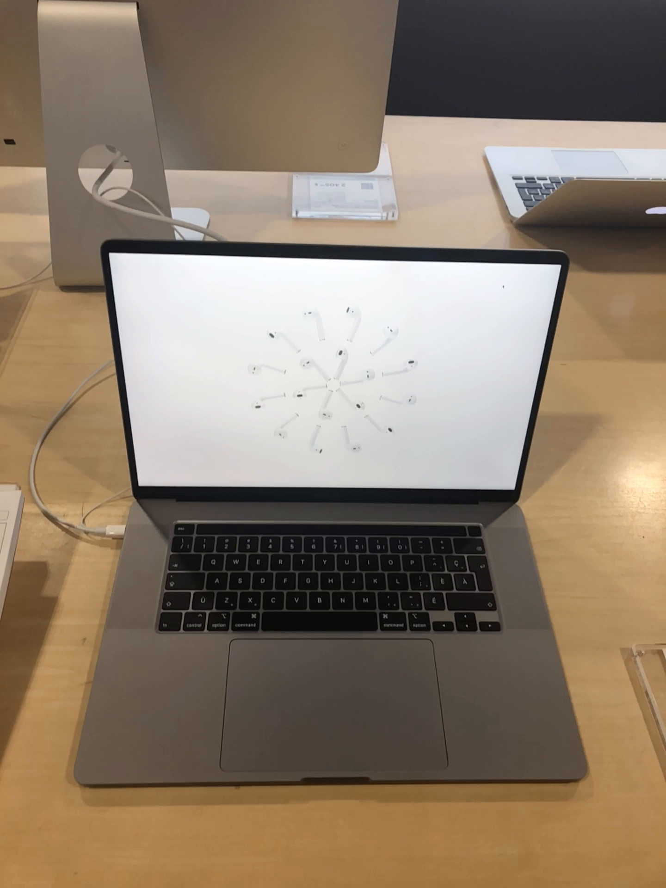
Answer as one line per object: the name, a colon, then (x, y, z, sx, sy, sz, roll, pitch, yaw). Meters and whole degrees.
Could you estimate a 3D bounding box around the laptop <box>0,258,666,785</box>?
laptop: (0.005, 0.045, 0.521, 0.343, 0.227, 0.292, 0, 46, -2)
